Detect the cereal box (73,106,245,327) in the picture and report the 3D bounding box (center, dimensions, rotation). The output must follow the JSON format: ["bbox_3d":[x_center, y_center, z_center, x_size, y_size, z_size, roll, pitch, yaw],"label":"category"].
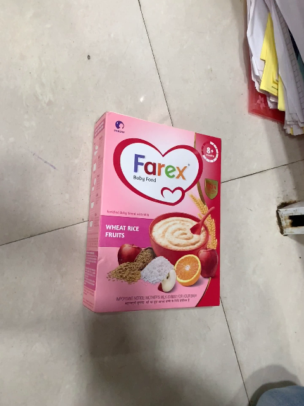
[{"bbox_3d":[0.015,0.018,0.327,0.171,0.050,0.190,6,82,-27],"label":"cereal box"}]
